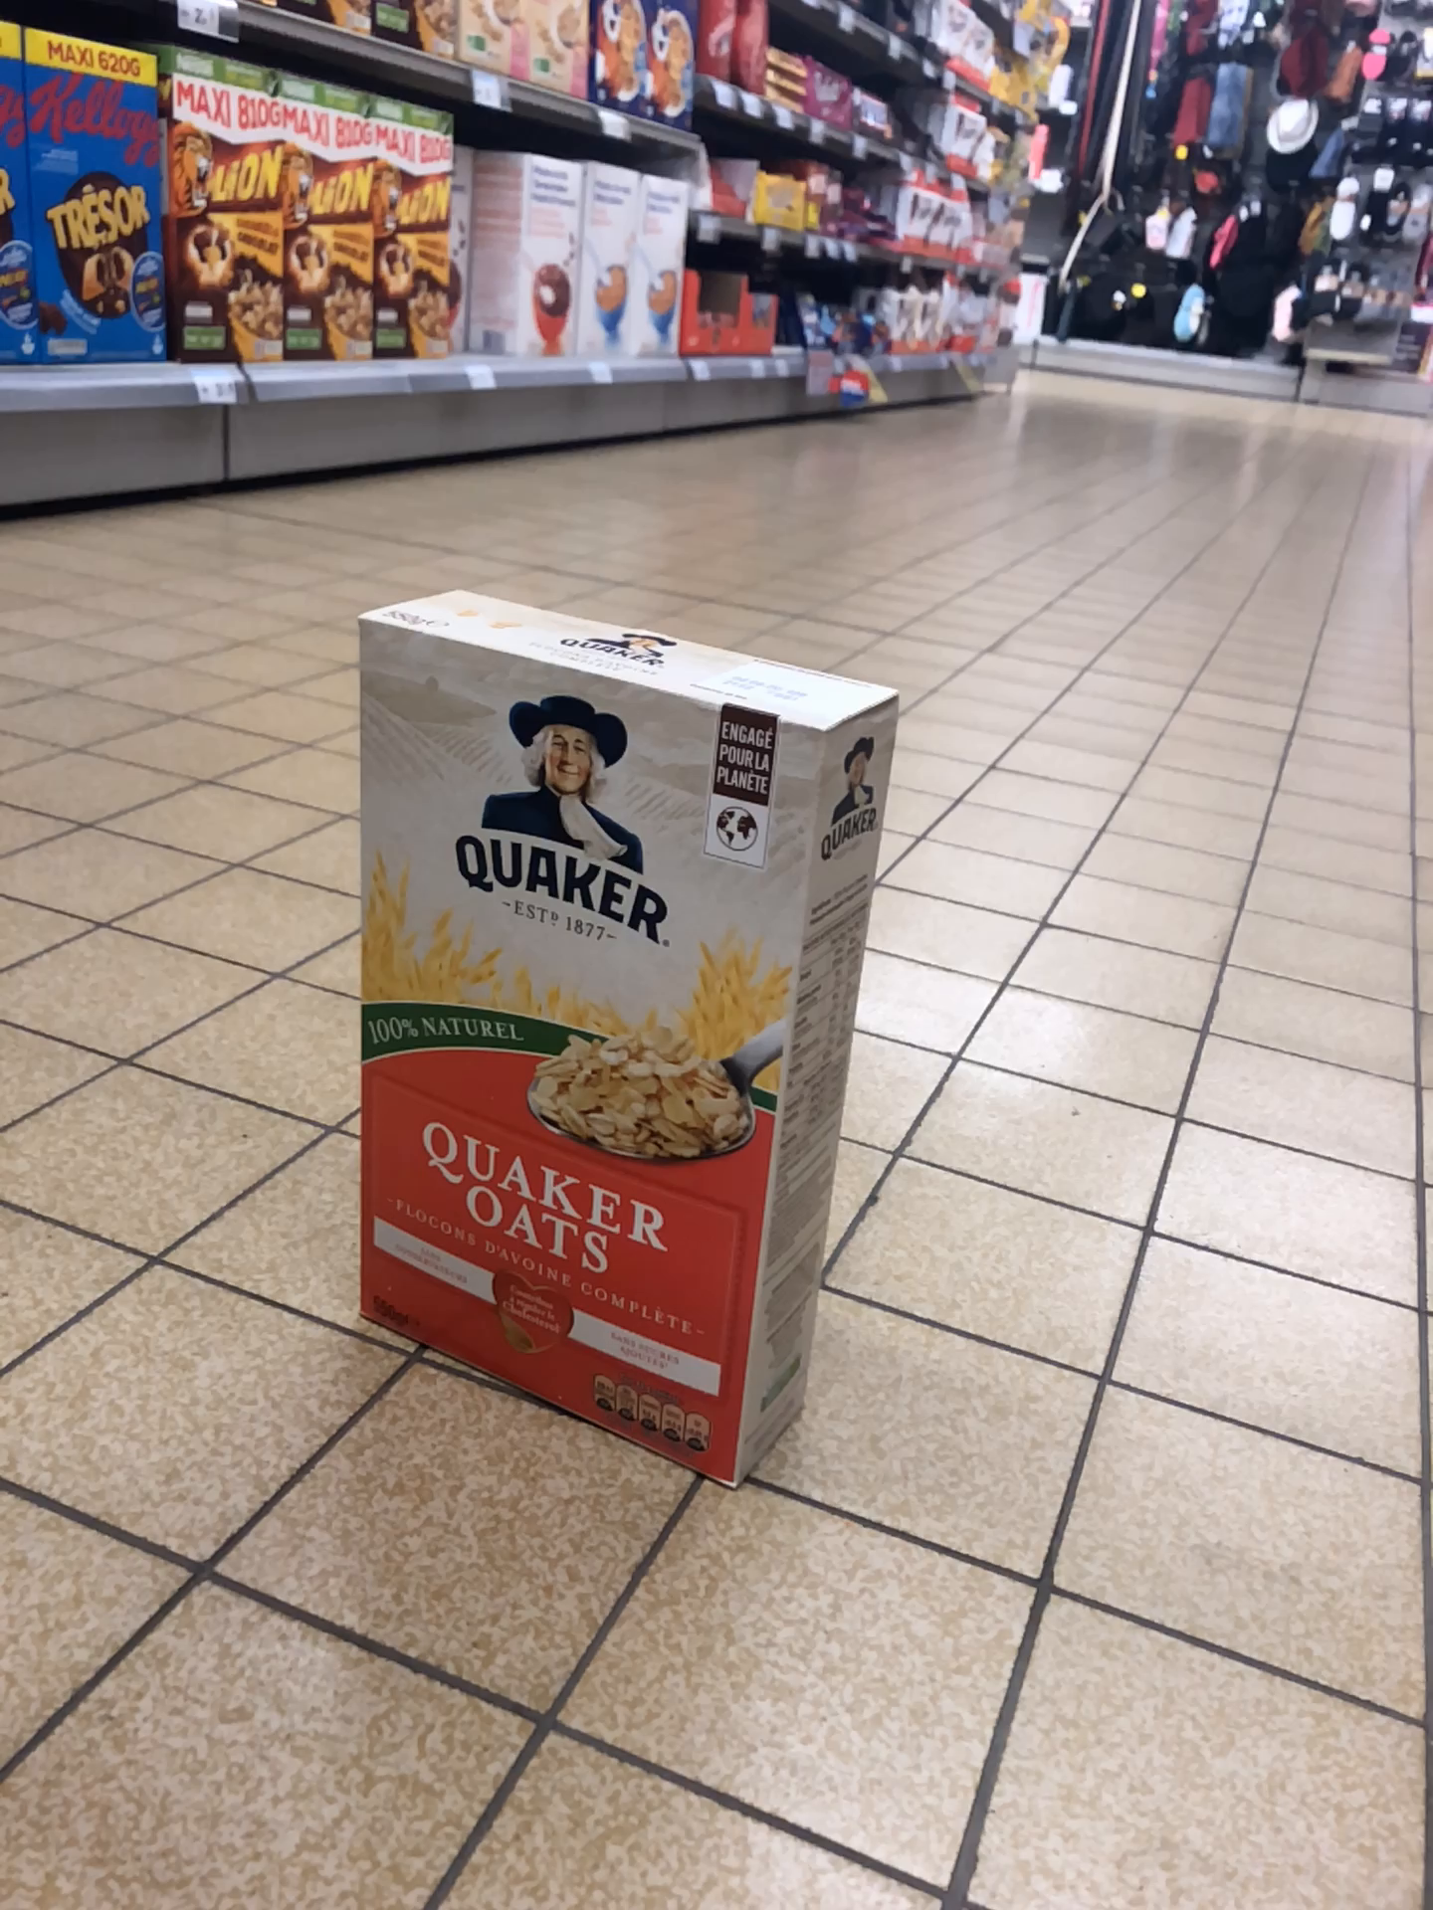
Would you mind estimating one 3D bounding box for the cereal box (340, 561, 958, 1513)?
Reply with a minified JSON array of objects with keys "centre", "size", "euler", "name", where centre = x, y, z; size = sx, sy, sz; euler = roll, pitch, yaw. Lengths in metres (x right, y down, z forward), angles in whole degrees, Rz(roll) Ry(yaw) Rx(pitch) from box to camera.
[{"centre":[-0.030,0.020,0.444],"size":[0.150,0.229,0.050],"euler":[18,25,25],"name":"cereal box"}]
